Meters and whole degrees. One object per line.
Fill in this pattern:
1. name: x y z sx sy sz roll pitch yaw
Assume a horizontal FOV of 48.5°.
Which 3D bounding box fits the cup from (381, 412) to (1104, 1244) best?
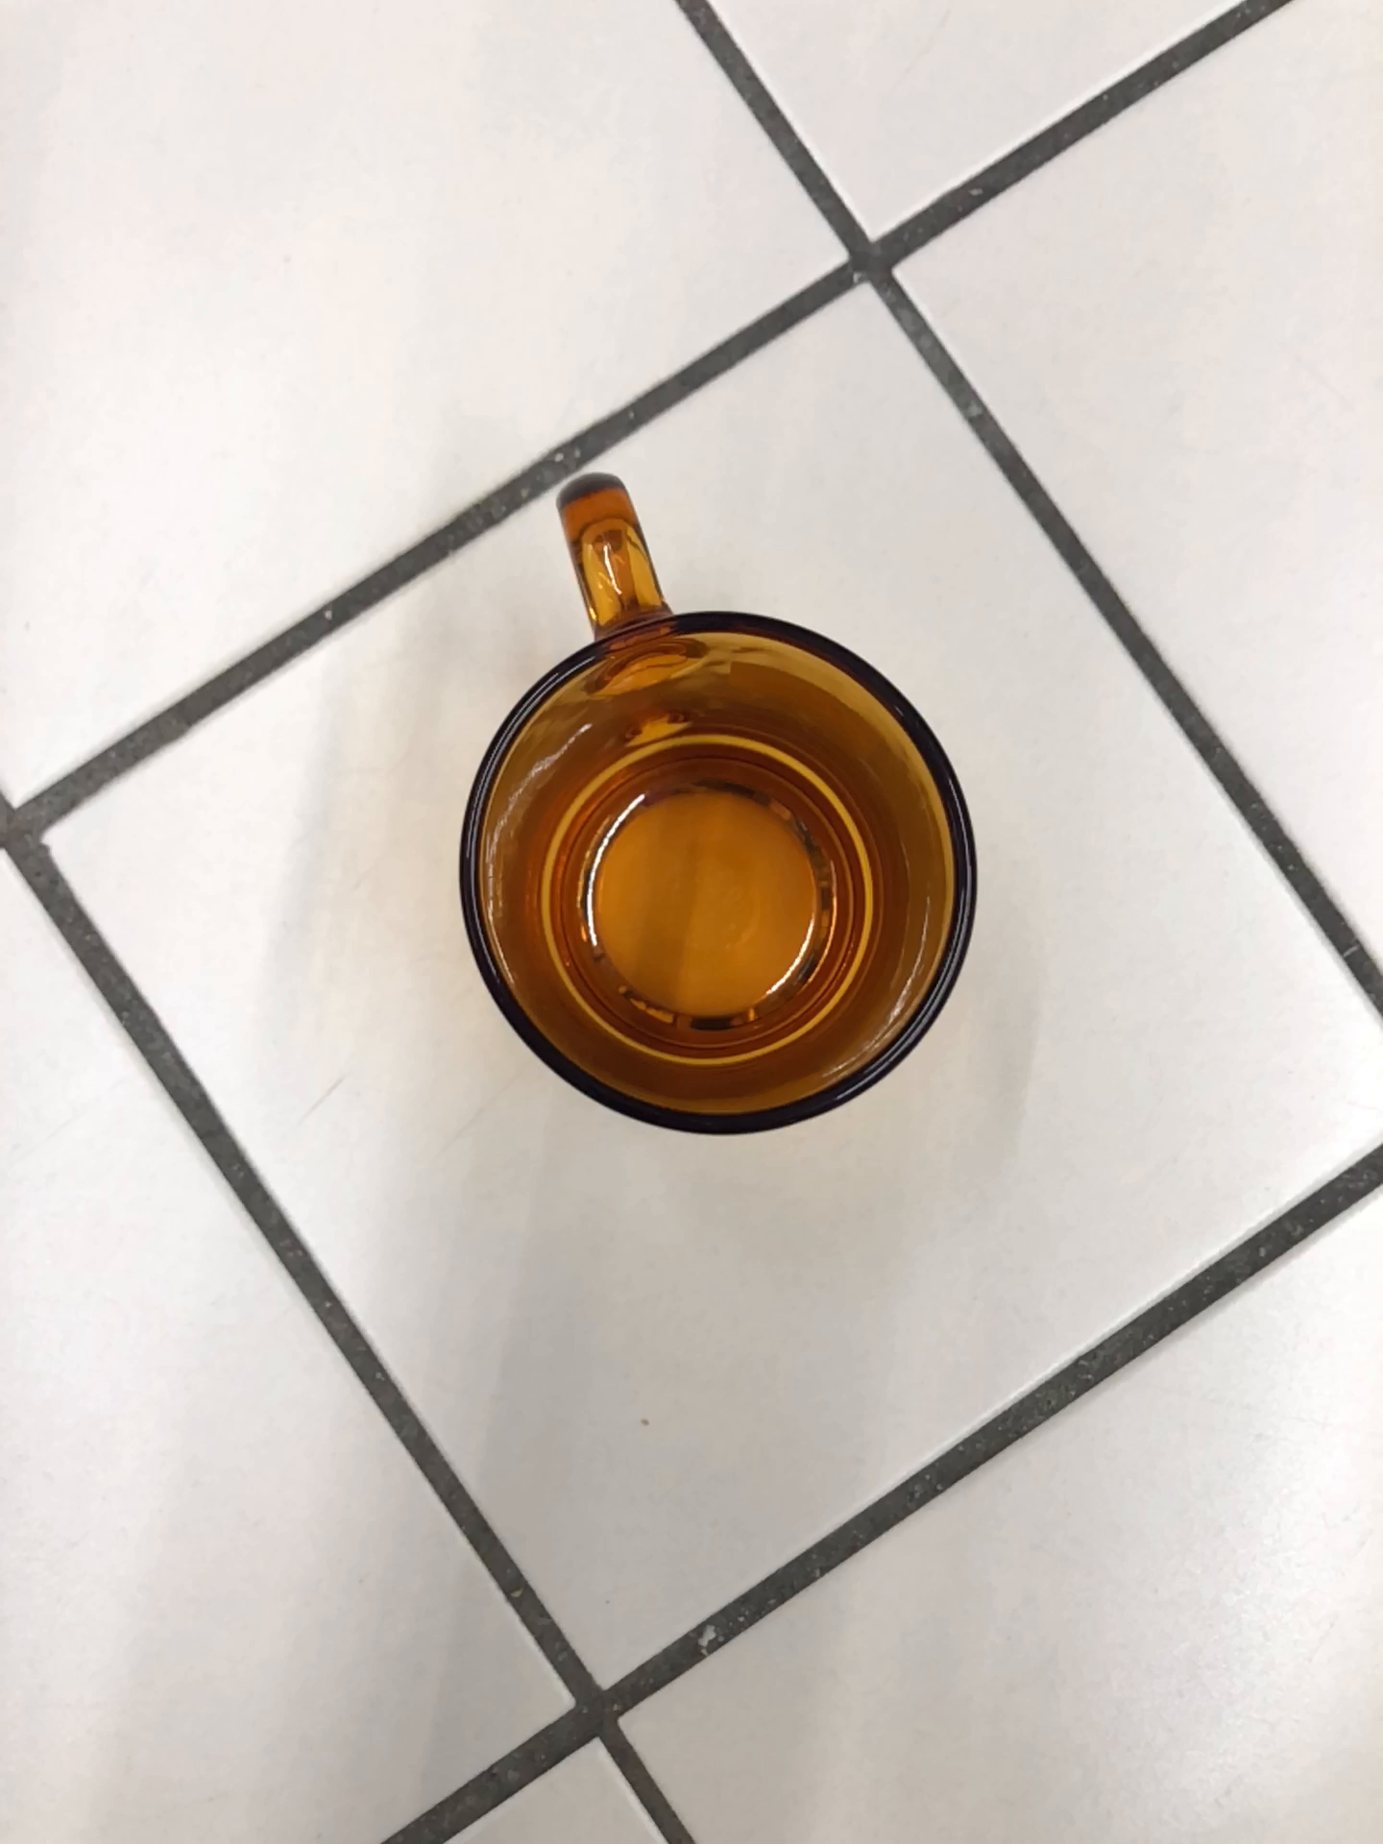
1. cup: 0.006 -0.012 0.247 0.074 0.082 0.096 -15 88 -2
